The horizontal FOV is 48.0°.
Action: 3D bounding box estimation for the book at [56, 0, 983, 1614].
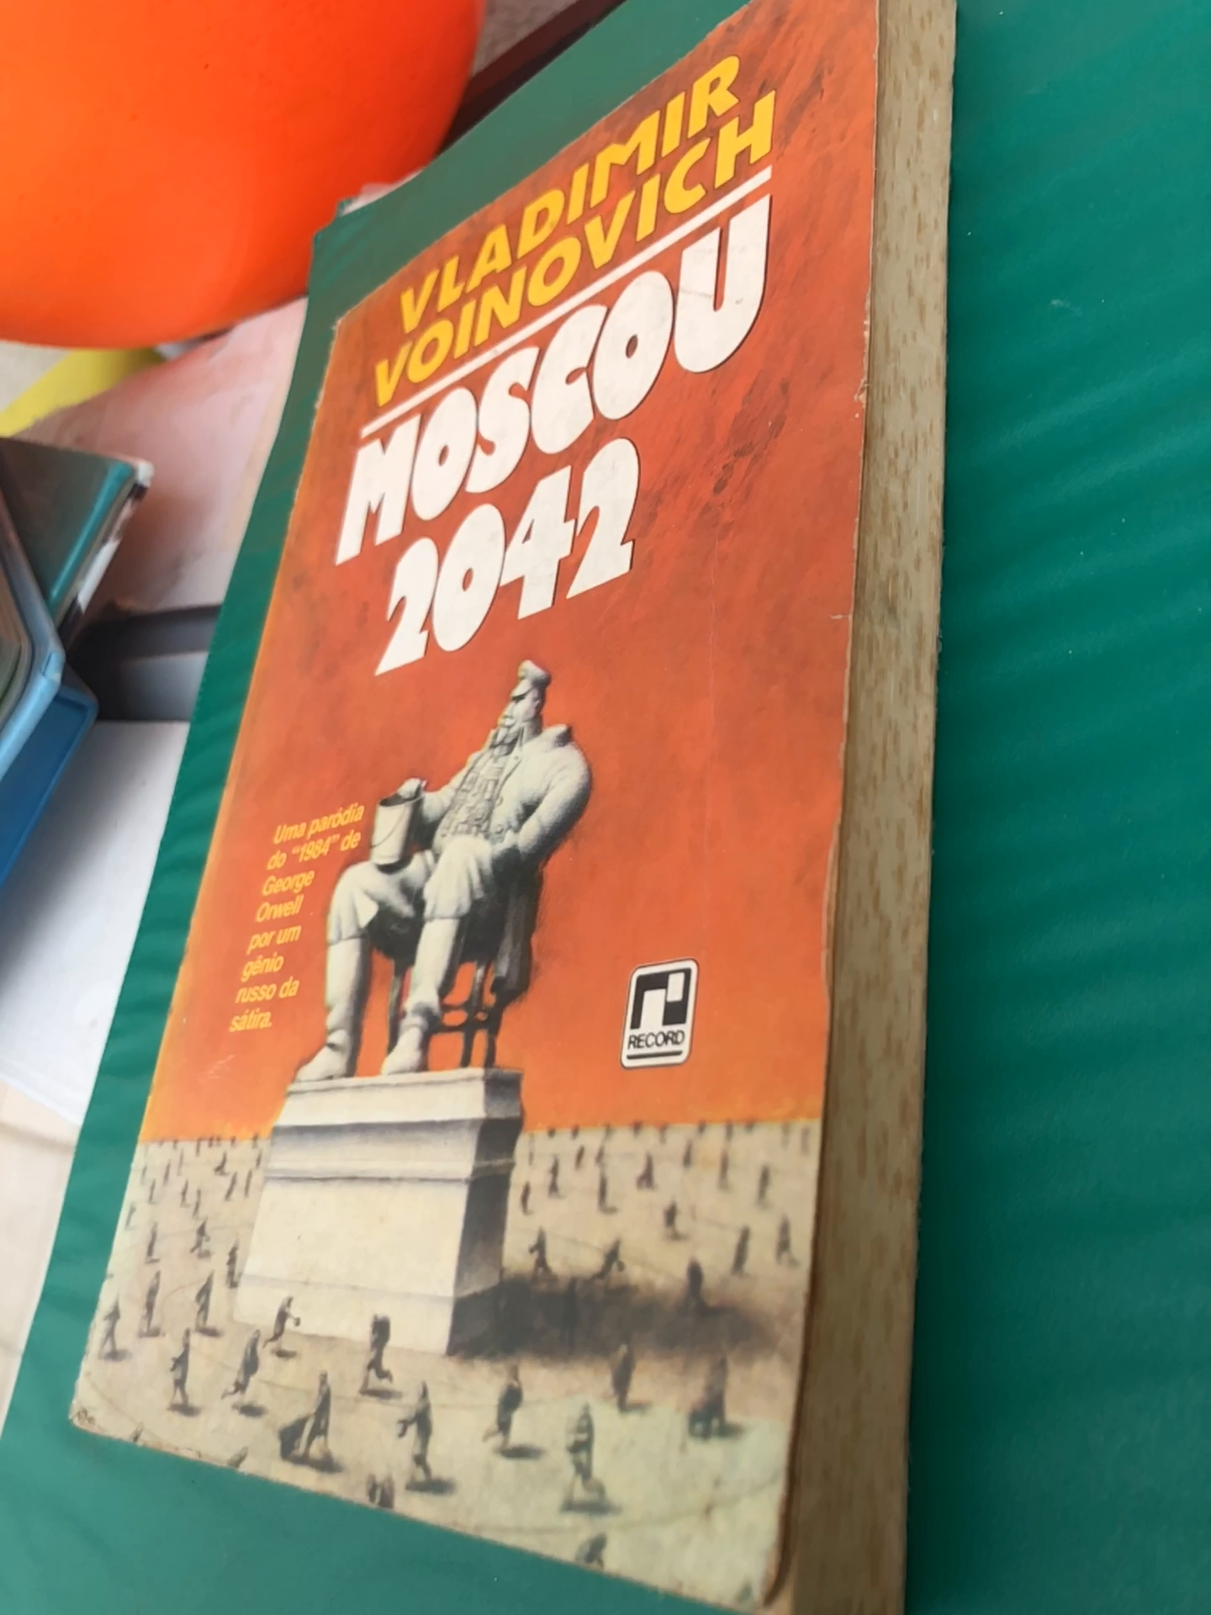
[{"bbox_3d":[-0.012,-0.013,0.193,0.132,0.020,0.204,-14,59,42],"label":"book"}]
